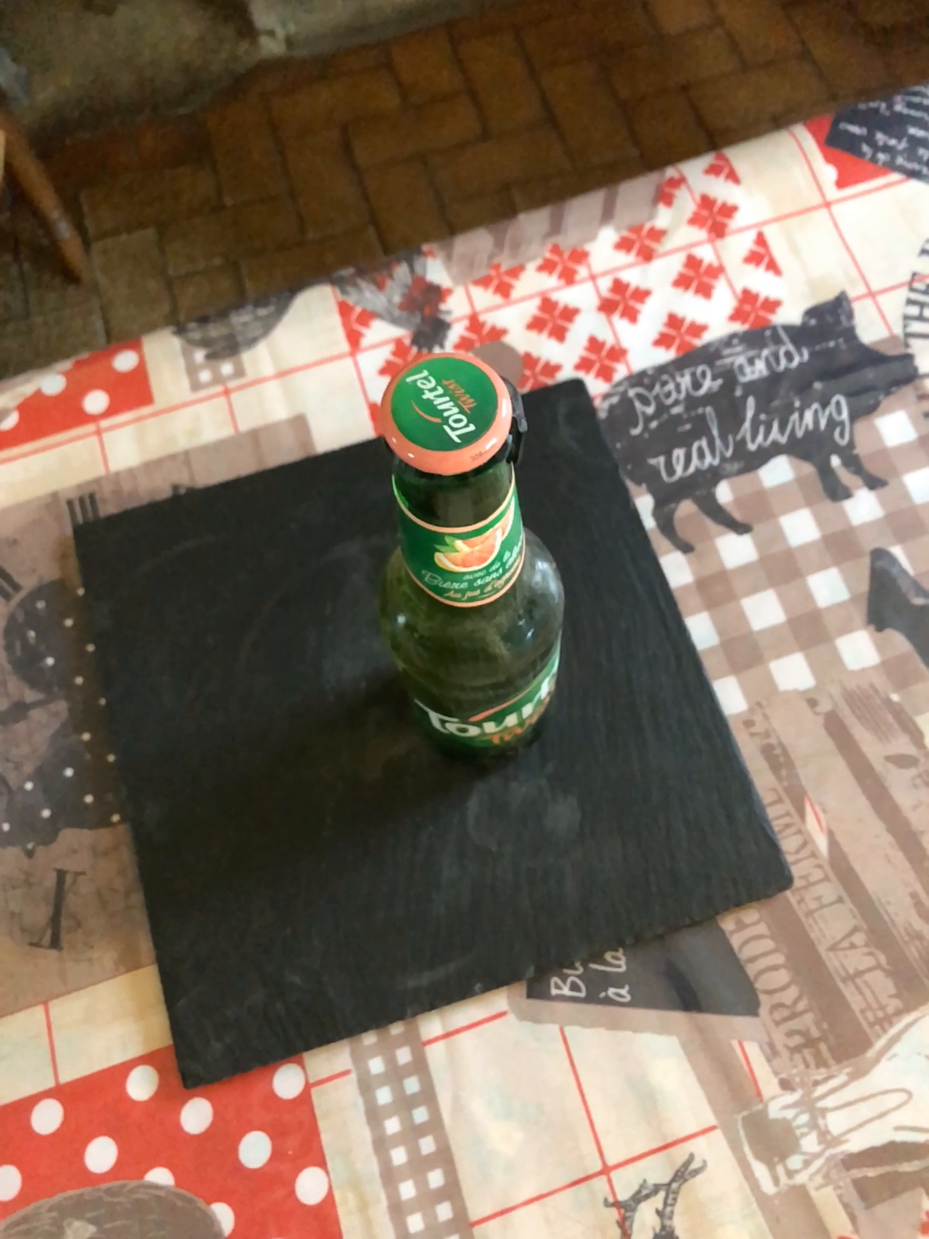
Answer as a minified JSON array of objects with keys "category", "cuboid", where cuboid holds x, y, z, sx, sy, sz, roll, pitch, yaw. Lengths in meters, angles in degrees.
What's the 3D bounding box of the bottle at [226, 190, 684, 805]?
[{"category":"bottle","cuboid":[0.002,-0.009,0.312,0.070,0.230,0.060,-29,71,-8]}]
